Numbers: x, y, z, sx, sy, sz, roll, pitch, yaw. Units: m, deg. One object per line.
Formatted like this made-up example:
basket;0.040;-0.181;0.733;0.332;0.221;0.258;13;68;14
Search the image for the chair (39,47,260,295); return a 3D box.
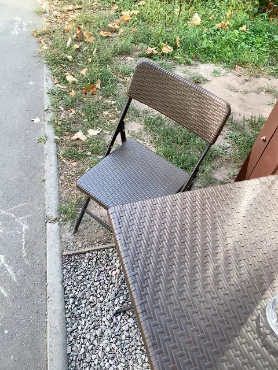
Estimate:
chair;0.019;-0.038;1.091;0.471;0.687;0.471;33;53;21
